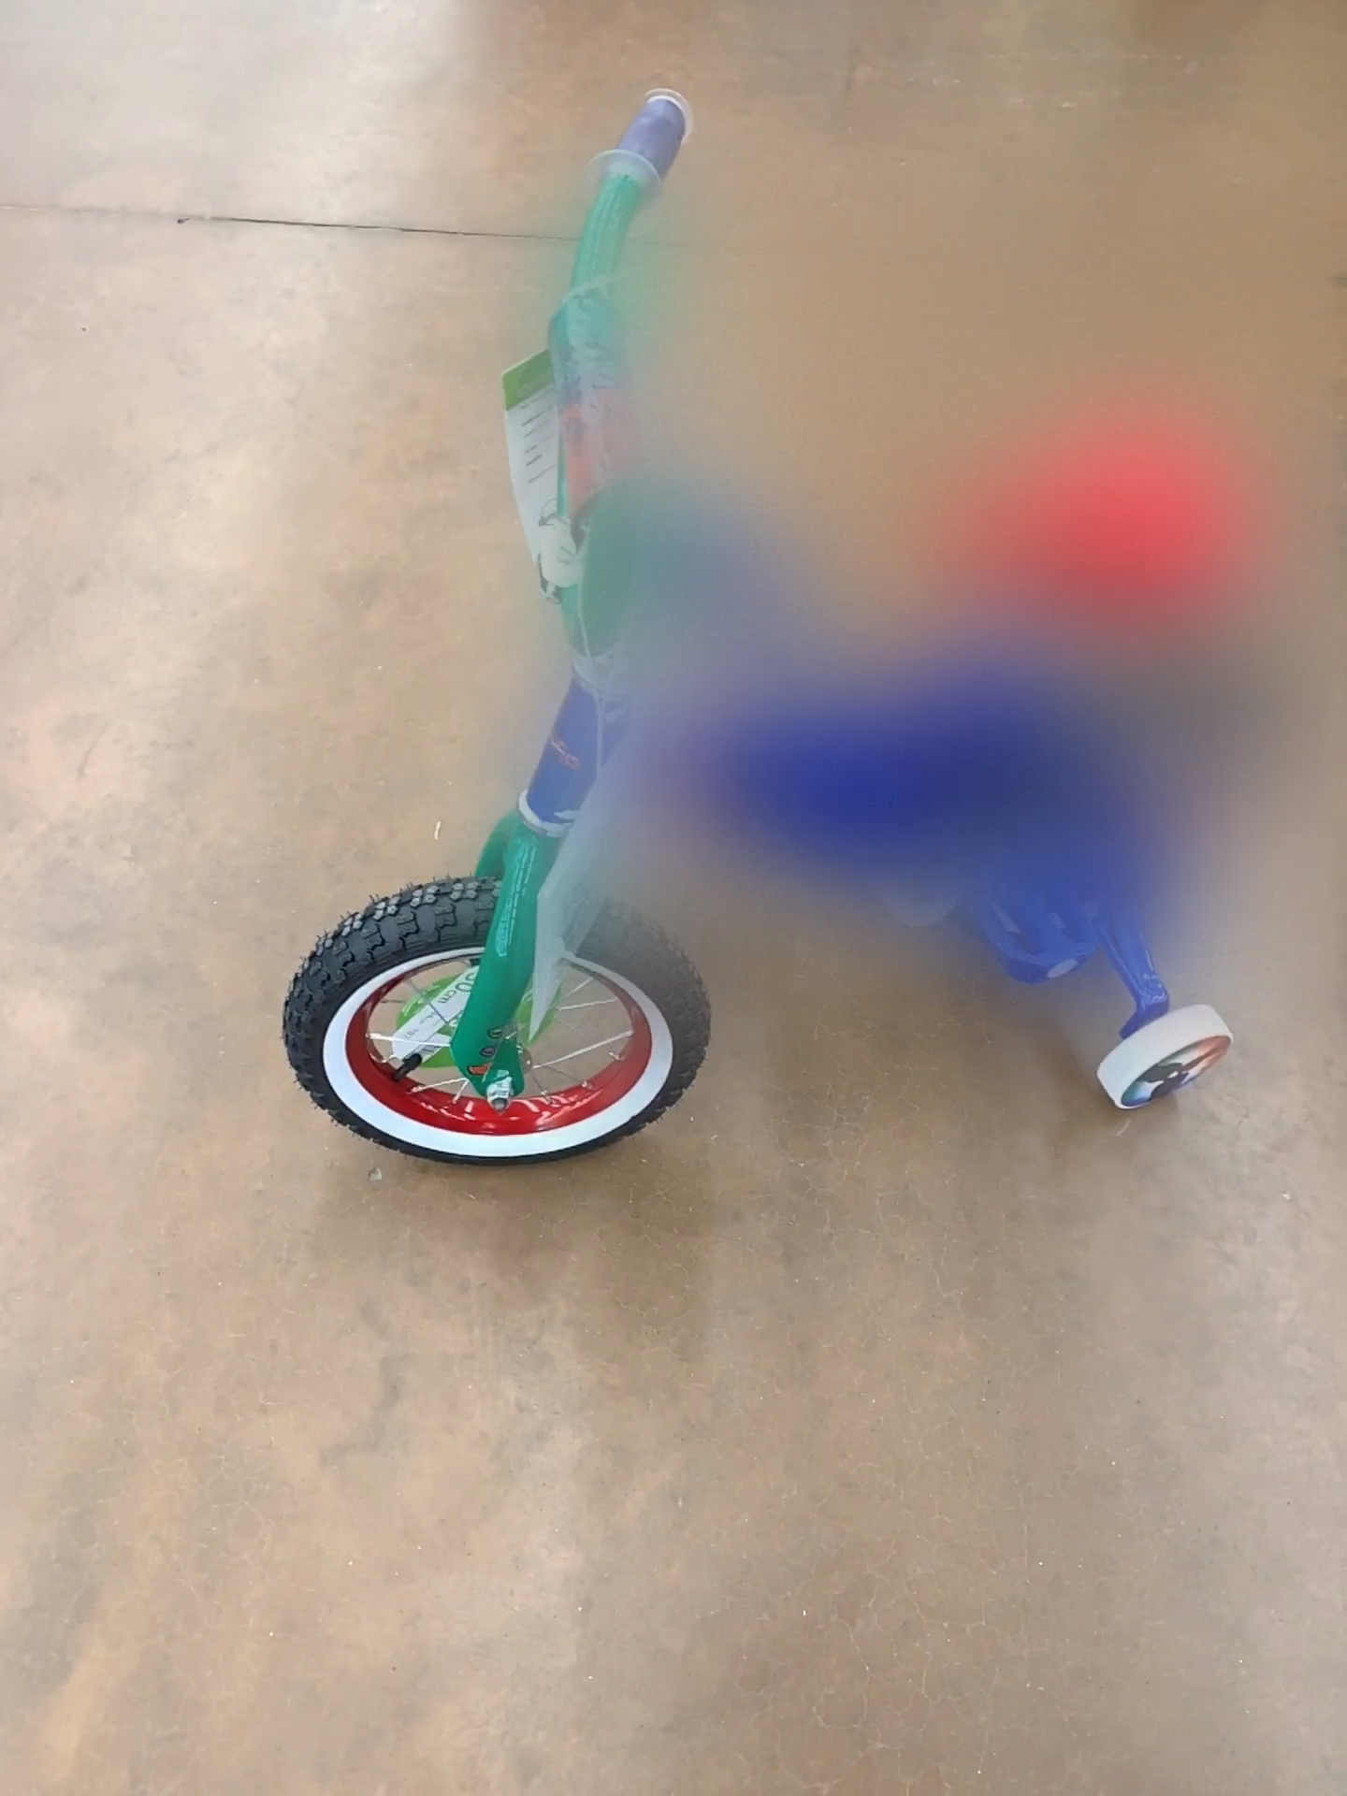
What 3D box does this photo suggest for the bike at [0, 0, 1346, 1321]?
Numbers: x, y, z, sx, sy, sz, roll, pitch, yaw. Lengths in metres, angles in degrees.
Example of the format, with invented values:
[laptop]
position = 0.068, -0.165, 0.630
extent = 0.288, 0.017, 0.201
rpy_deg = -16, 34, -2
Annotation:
[bike]
position = 0.108, -0.154, 0.933
extent = 0.794, 0.695, 0.466
rpy_deg = -15, 58, -12
